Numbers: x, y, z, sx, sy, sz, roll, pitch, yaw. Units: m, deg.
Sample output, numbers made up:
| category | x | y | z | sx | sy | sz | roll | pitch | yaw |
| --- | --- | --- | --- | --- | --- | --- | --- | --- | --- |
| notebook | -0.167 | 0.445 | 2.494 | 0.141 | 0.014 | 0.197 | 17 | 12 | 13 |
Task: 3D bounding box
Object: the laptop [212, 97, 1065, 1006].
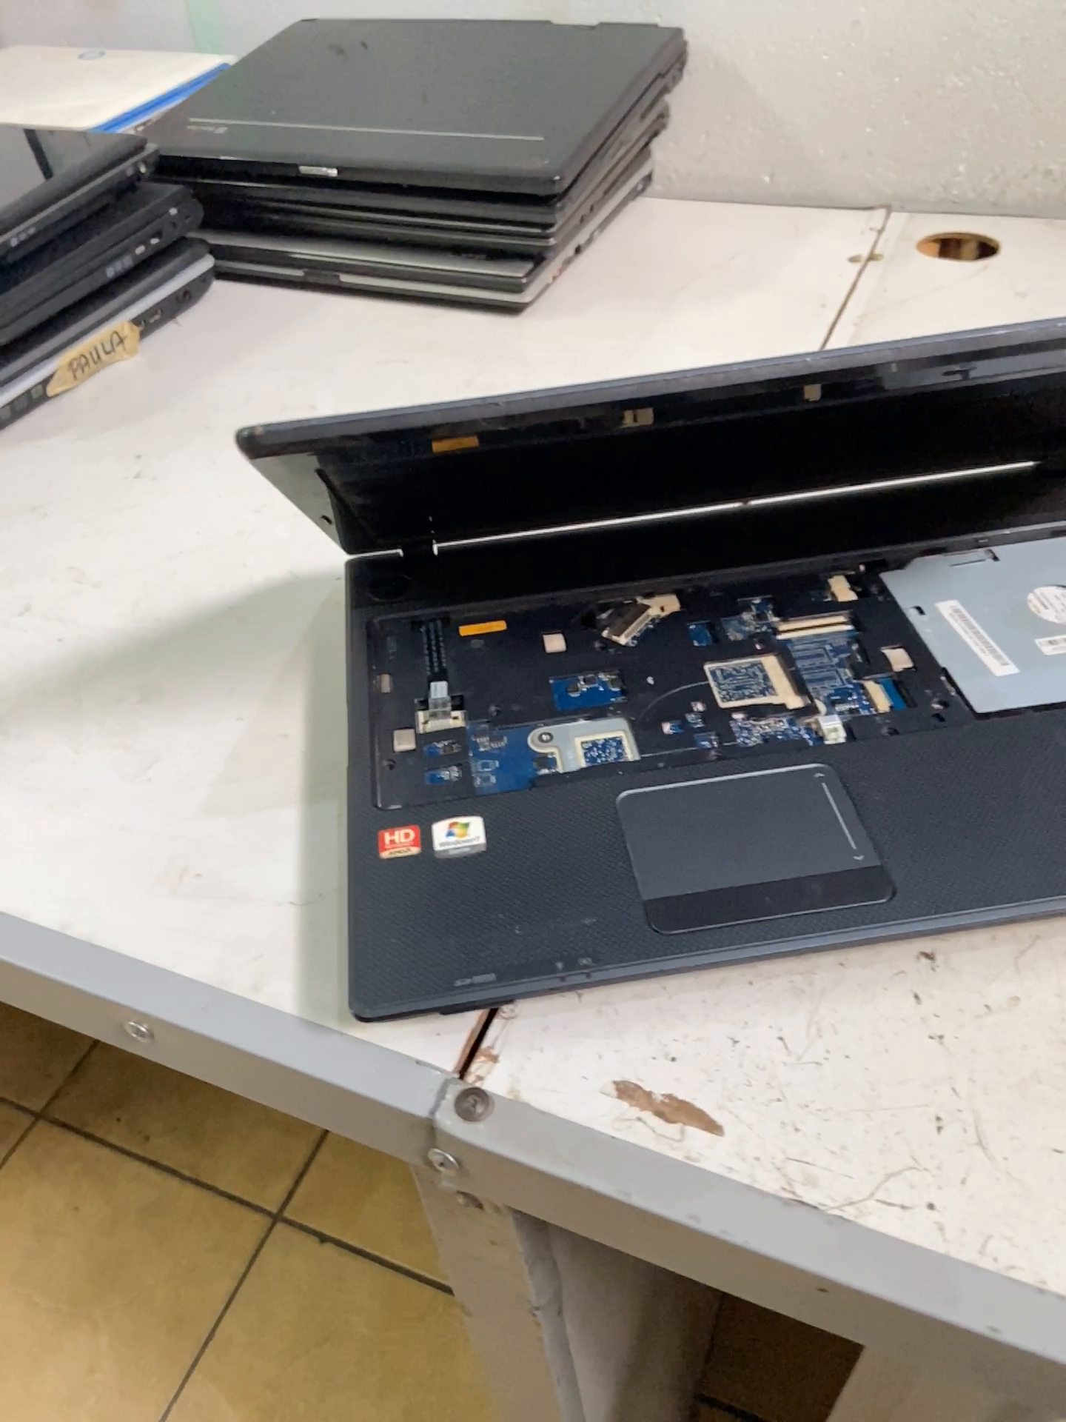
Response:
| category | x | y | z | sx | sy | sz | roll | pitch | yaw |
| --- | --- | --- | --- | --- | --- | --- | --- | --- | --- |
| laptop | 0.107 | -0.073 | 0.373 | 0.370 | 0.156 | 0.240 | -8 | 41 | -2 |
